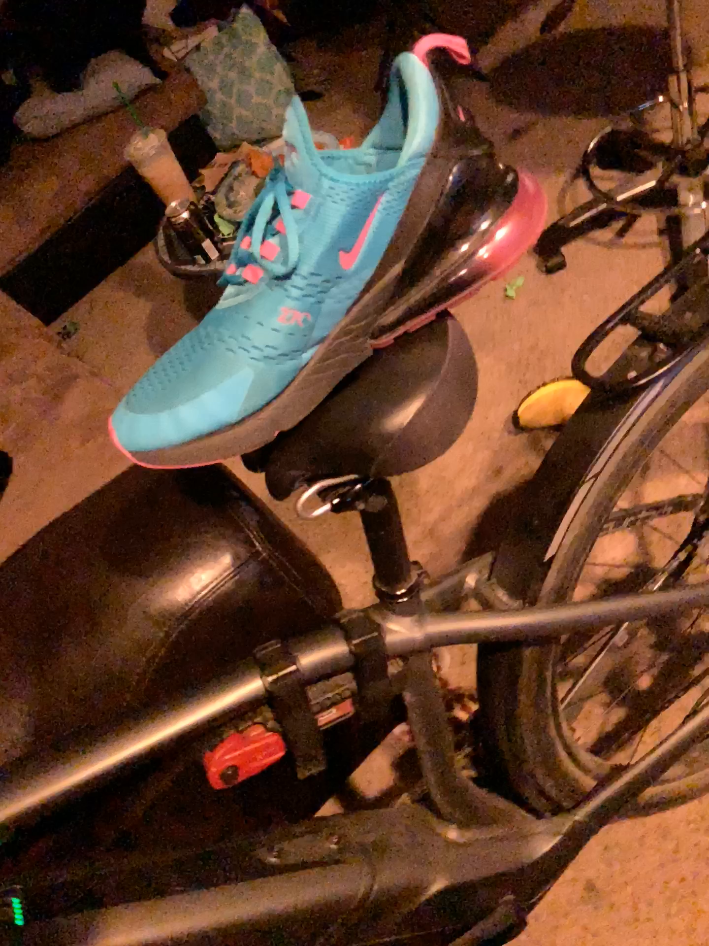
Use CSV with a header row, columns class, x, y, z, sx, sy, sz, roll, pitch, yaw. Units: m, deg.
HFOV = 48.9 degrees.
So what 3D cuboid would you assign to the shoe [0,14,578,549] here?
class,x,y,z,sx,sy,sz,roll,pitch,yaw
shoe,-0.041,-0.134,0.503,0.330,0.130,0.150,-40,45,-8
